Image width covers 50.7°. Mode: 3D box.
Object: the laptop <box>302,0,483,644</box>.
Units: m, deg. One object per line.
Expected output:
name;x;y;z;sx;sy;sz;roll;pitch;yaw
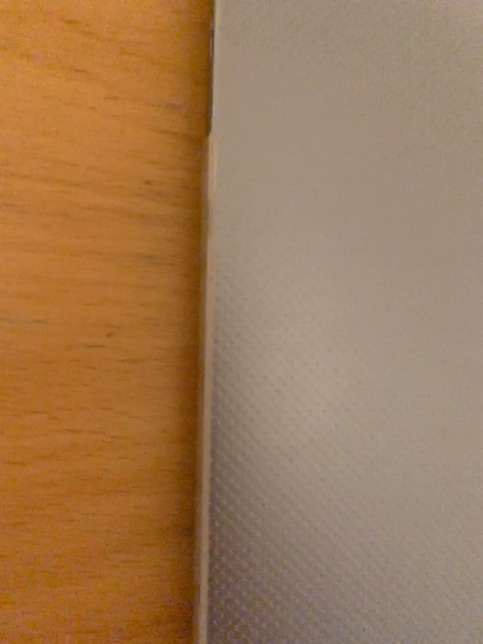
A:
laptop;0.155;-0.008;0.153;0.292;0.005;0.210;2;88;-16
